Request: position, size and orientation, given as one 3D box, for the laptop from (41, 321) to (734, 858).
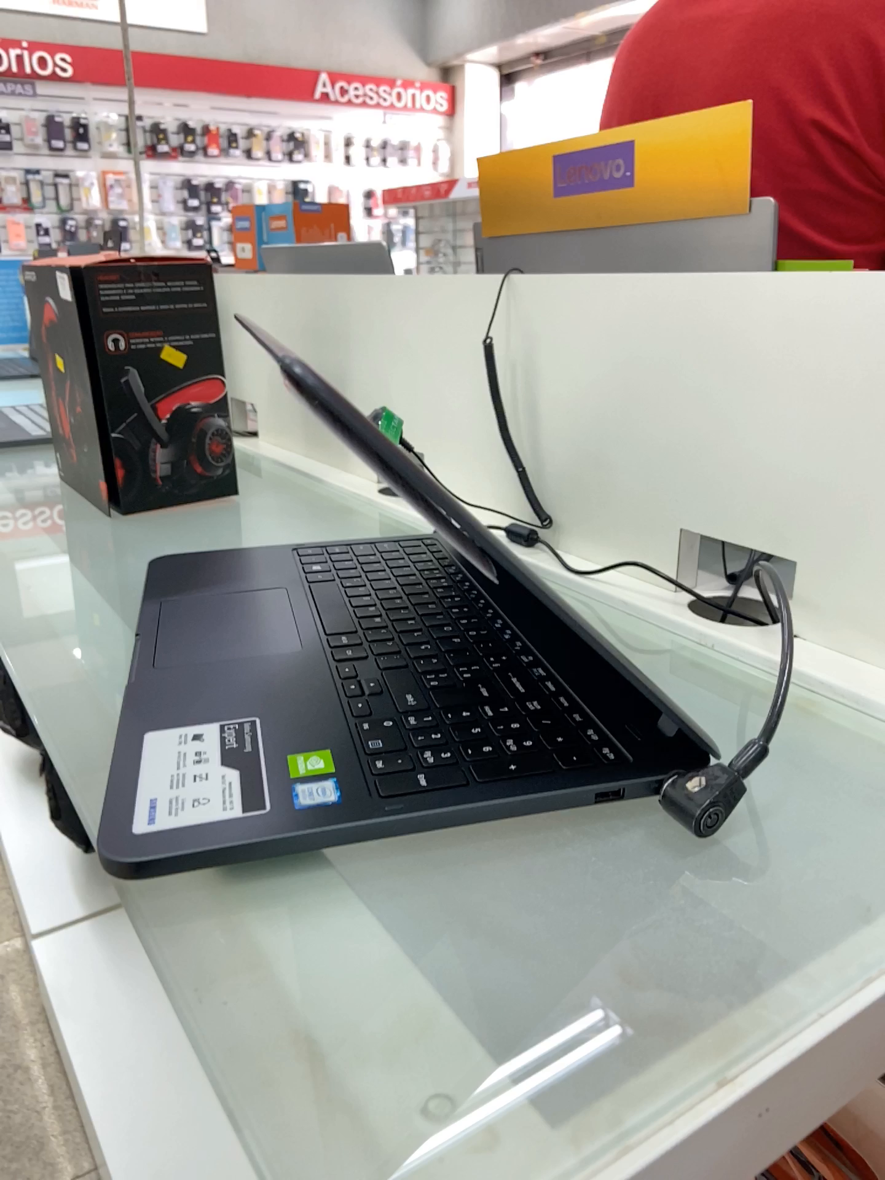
[{"bbox_3d":[-0.053,-0.049,0.487,0.231,0.158,0.359,-6,20,-13],"label":"laptop"}]
